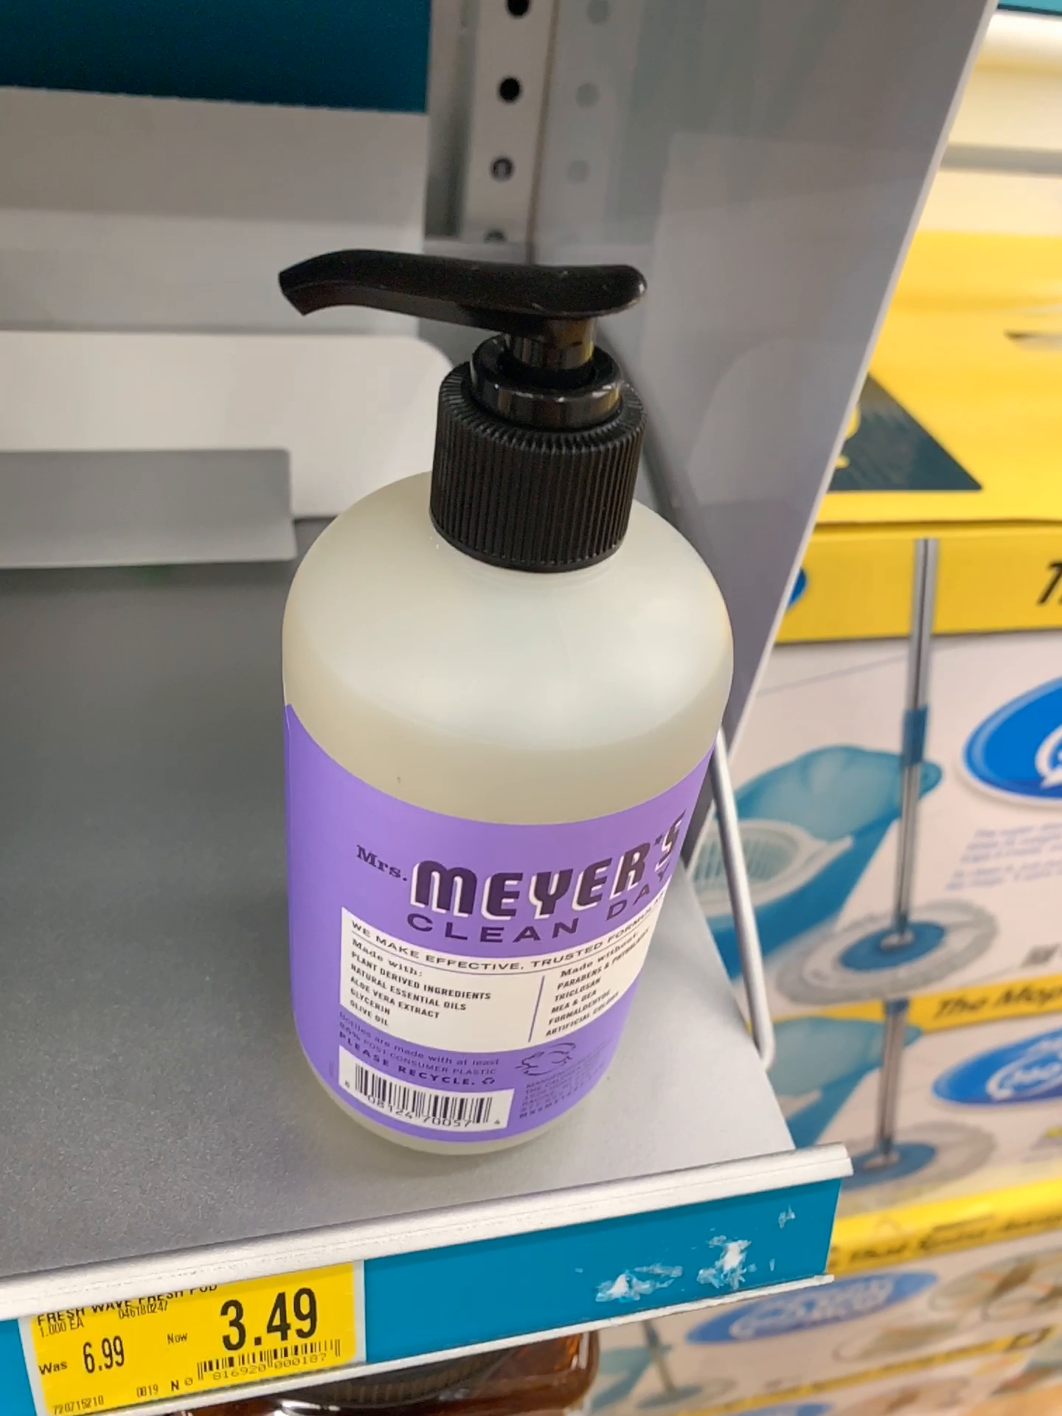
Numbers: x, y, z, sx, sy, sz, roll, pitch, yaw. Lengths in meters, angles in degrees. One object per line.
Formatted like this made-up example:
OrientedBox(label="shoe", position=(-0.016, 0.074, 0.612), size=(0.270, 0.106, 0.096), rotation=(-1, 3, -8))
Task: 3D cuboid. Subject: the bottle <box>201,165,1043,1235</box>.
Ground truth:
OrientedBox(label="bottle", position=(-0.002, 0.006, 0.185), size=(0.080, 0.159, 0.070), rotation=(-9, 44, -19))
